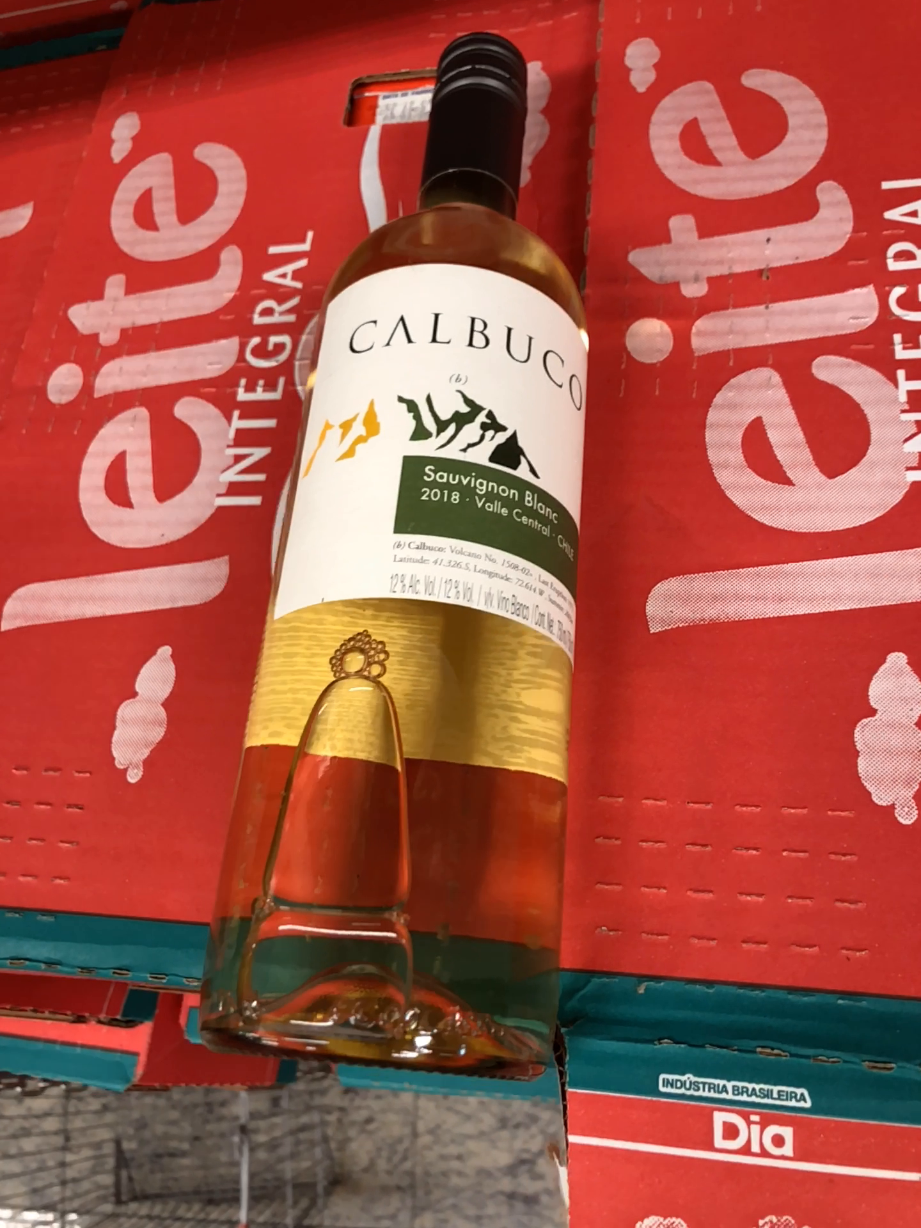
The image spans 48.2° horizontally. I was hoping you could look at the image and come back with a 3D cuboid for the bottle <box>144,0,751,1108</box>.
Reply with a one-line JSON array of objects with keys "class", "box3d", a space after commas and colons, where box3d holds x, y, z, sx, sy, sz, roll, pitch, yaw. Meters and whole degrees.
[{"class": "bottle", "box3d": [0.000, -0.044, 0.258, 0.090, 0.100, 0.291, 13, 67, -20]}]
